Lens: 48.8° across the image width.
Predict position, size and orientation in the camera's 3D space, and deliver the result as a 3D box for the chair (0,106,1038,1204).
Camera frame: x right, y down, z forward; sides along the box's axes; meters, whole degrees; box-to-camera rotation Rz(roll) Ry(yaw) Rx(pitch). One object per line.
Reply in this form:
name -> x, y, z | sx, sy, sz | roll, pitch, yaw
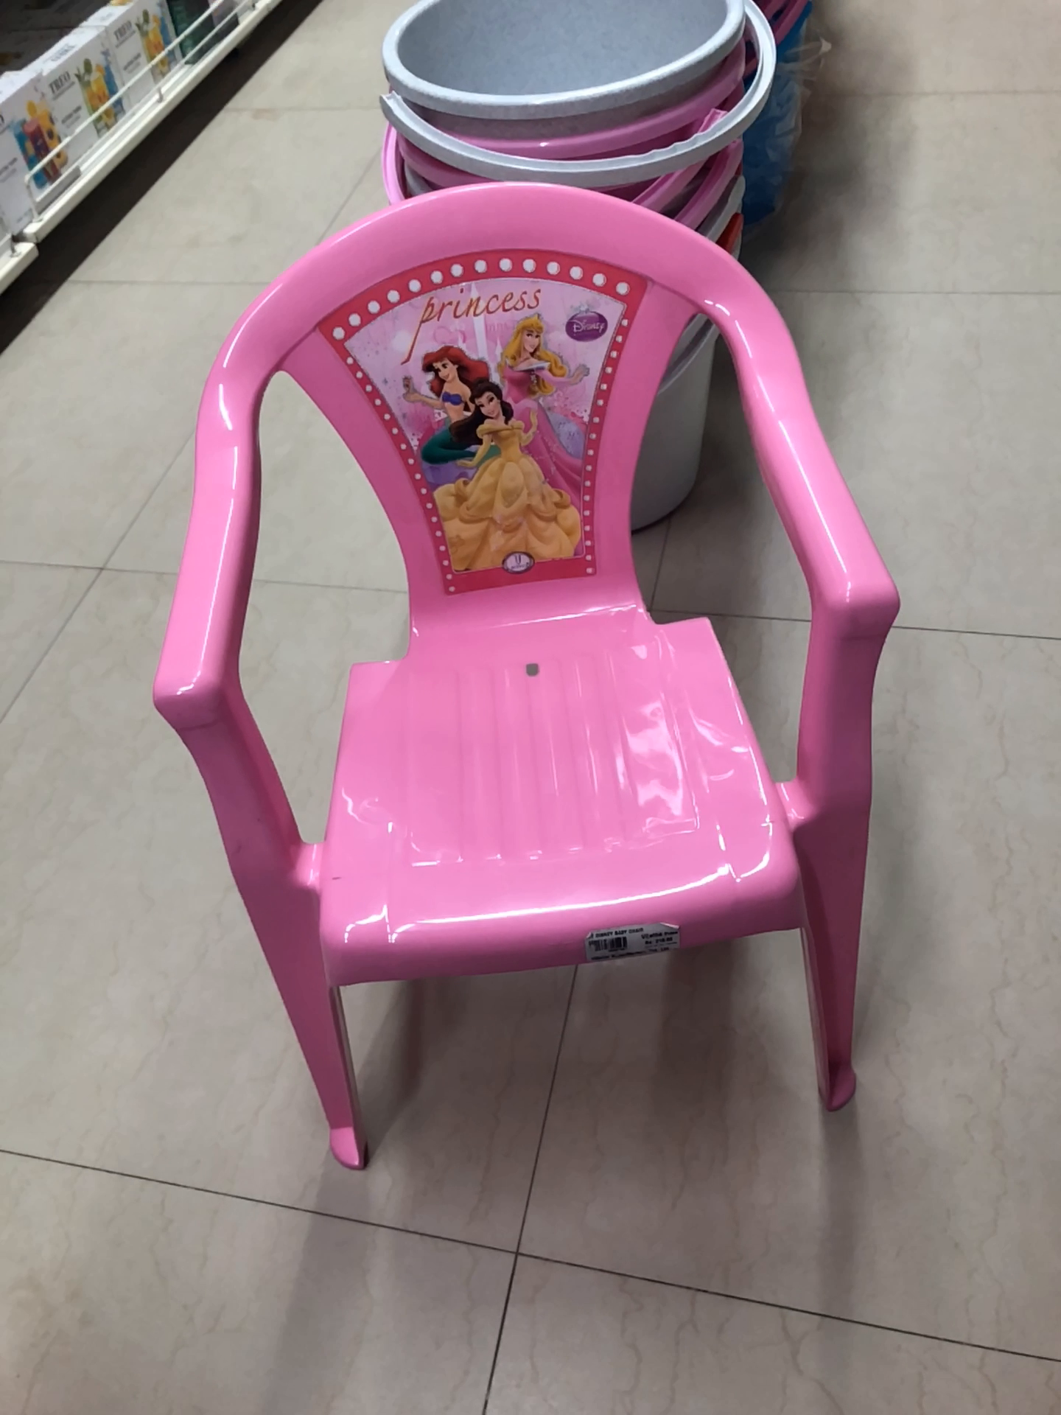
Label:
chair -> -0.008, -0.002, 0.674 | 0.370, 0.477, 0.352 | -8, 47, 2
